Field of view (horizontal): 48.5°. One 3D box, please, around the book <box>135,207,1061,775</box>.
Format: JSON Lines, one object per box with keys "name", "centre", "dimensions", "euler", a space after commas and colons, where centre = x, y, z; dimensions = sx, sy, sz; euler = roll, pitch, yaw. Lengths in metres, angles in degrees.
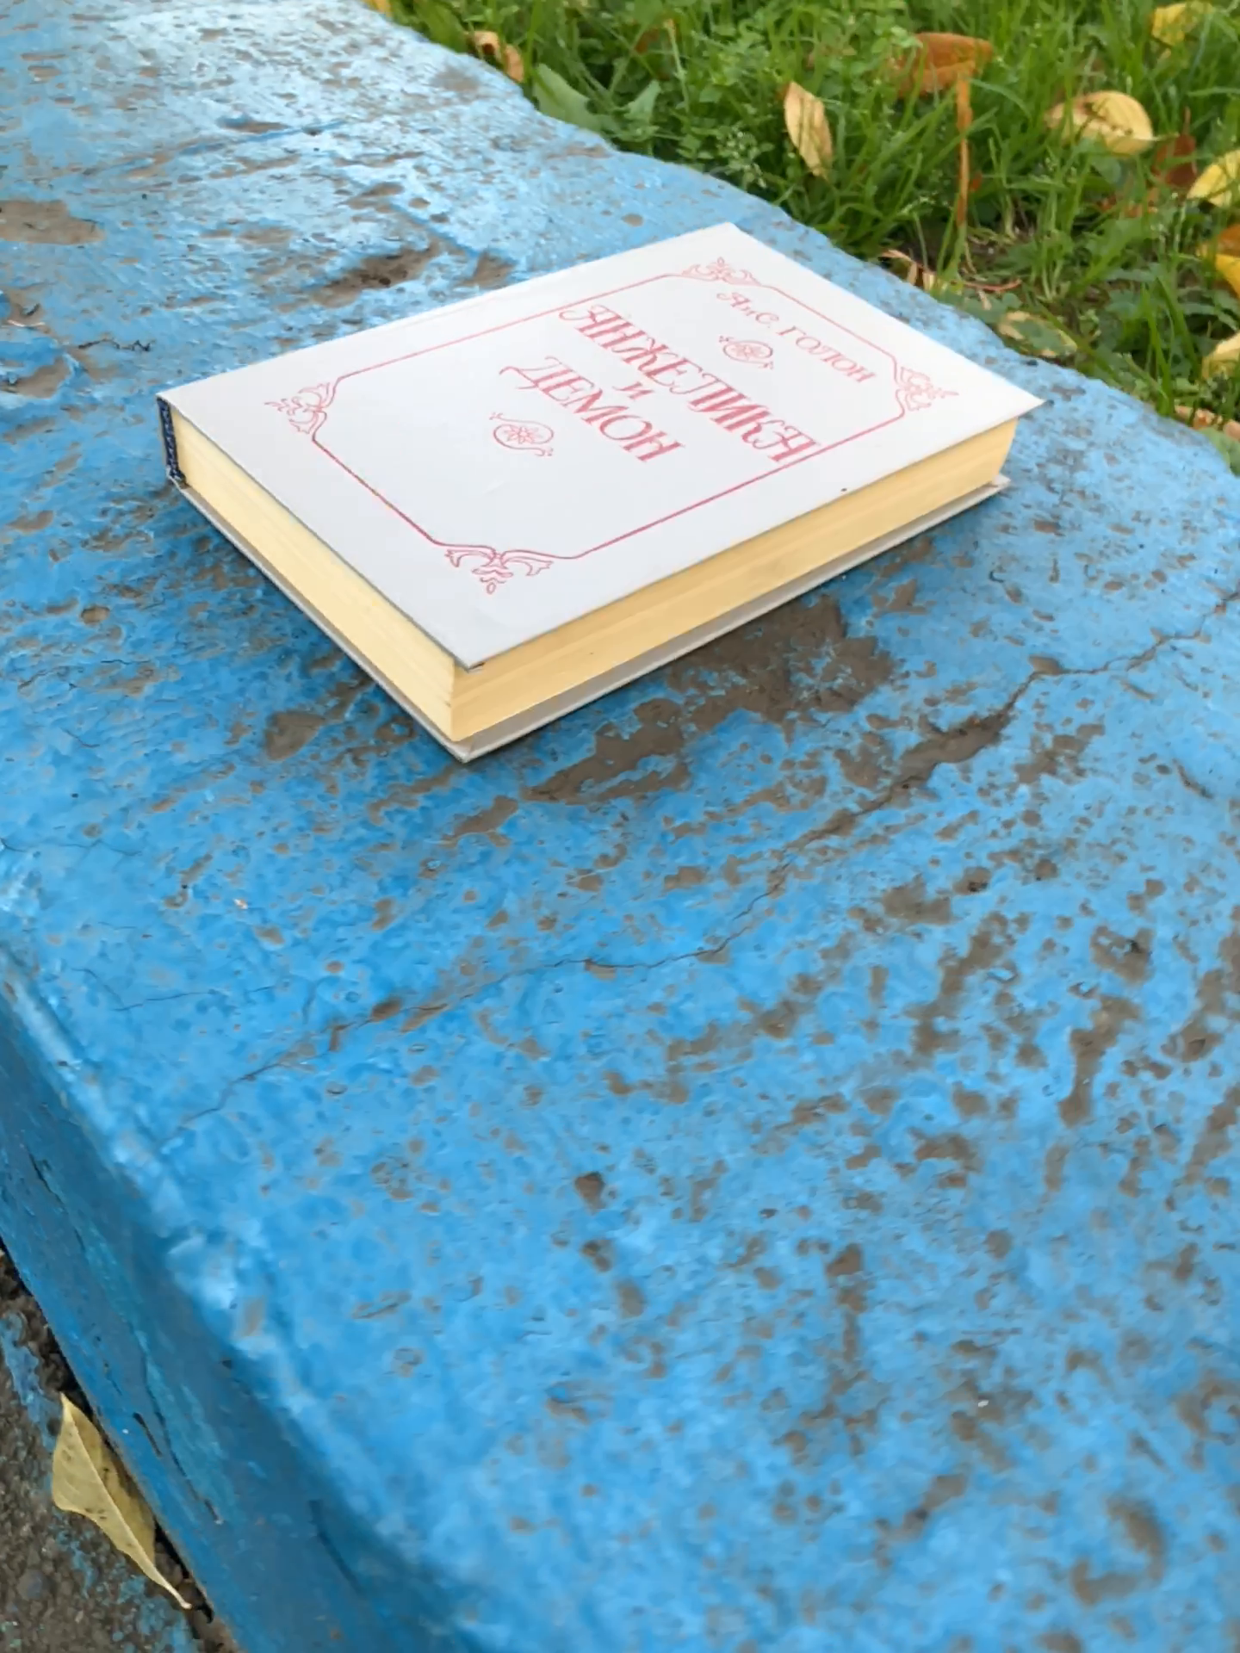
{"name": "book", "centre": [-0.001, -0.109, 0.385], "dimensions": [0.211, 0.032, 0.140], "euler": [-30, 56, -30]}
